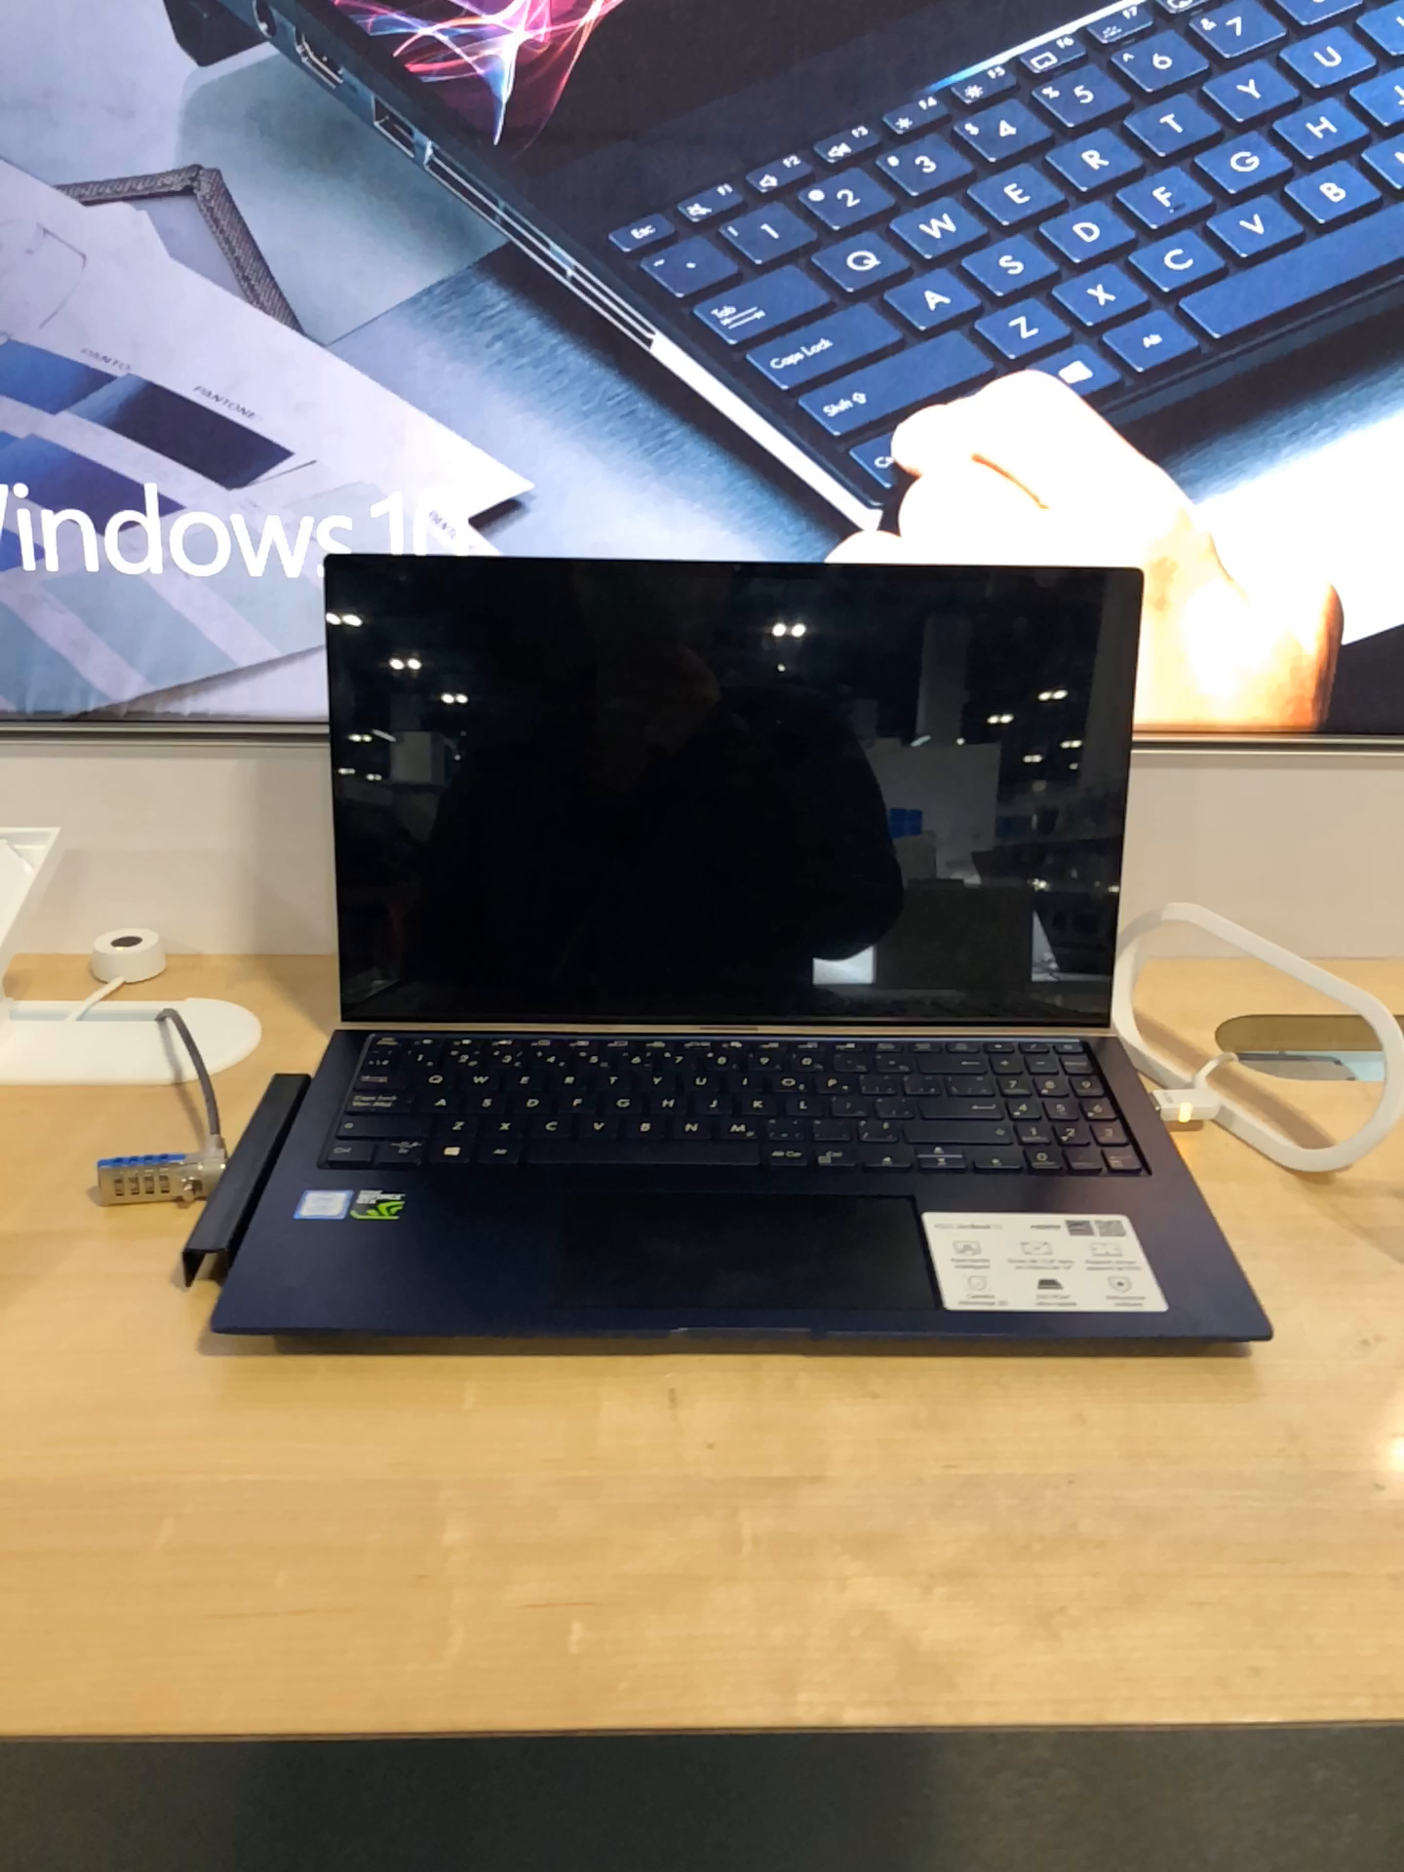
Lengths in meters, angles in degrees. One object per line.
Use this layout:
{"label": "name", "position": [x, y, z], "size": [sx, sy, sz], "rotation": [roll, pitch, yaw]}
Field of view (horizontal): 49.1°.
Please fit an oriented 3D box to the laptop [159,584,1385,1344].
{"label": "laptop", "position": [0.019, -0.009, 0.574], "size": [0.336, 0.196, 0.250], "rotation": [1, 23, 0]}
